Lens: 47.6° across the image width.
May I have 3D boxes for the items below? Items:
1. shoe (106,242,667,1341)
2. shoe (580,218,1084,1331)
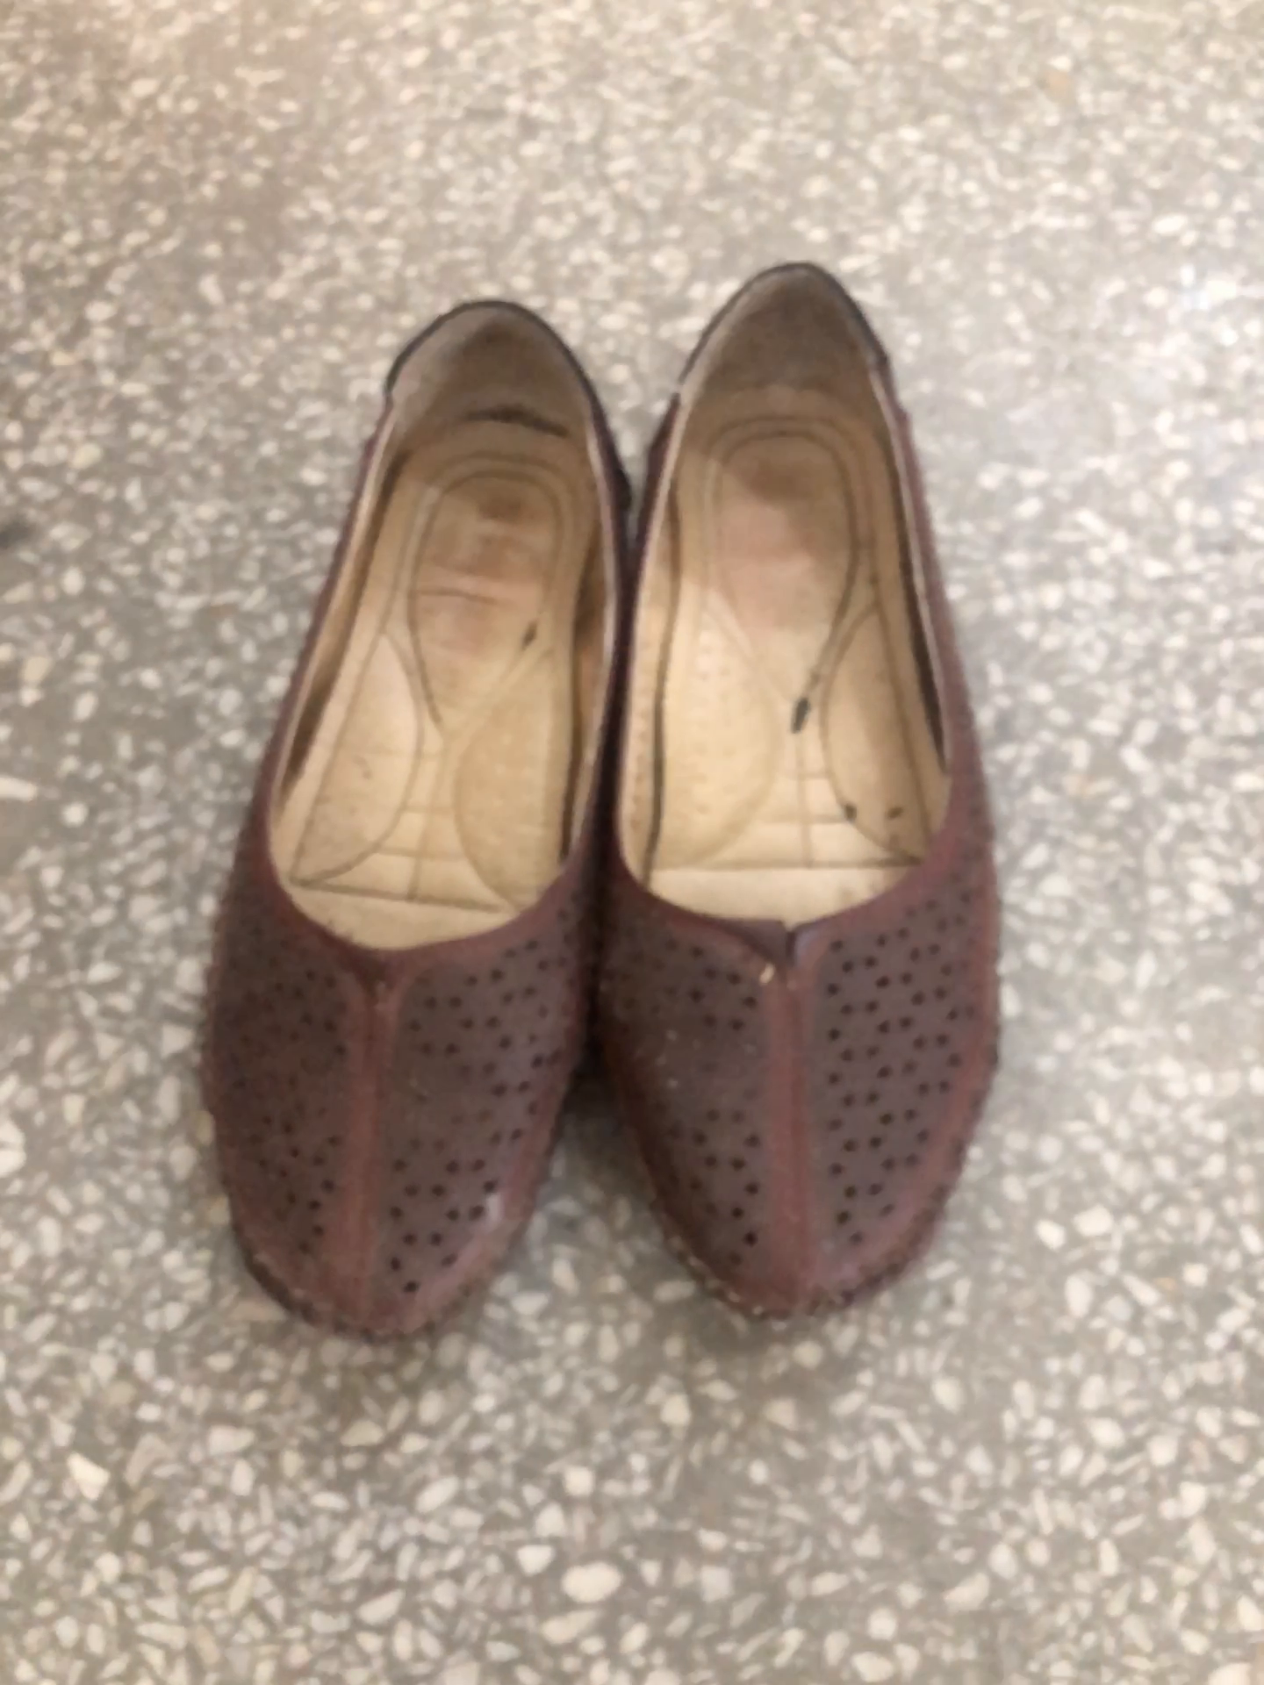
[{"bbox_3d":[-0.044,-0.019,0.336,0.090,0.060,0.250,3,70,3],"label":"shoe"},{"bbox_3d":[0.037,-0.021,0.328,0.090,0.060,0.250,0,70,2],"label":"shoe"}]
